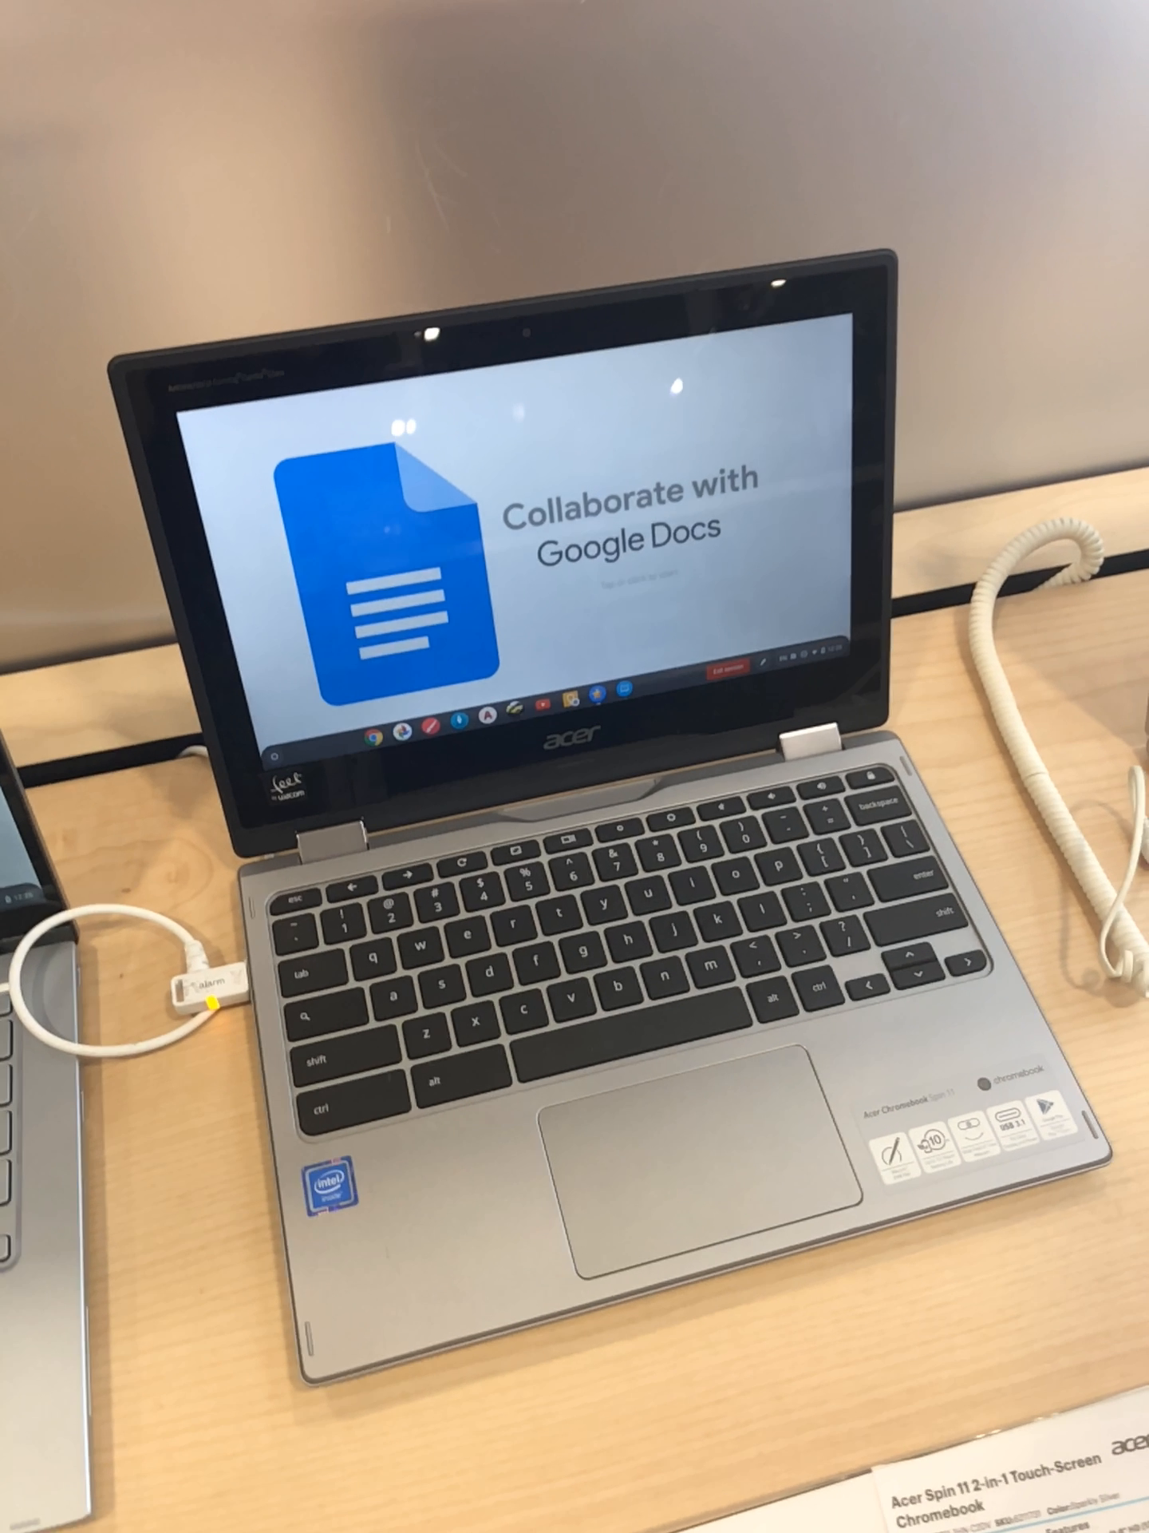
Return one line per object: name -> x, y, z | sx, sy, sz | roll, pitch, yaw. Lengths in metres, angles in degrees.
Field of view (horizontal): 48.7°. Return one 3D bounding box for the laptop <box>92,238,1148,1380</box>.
laptop -> 0.014, -0.001, 0.442 | 0.287, 0.176, 0.296 | -12, 56, -10
